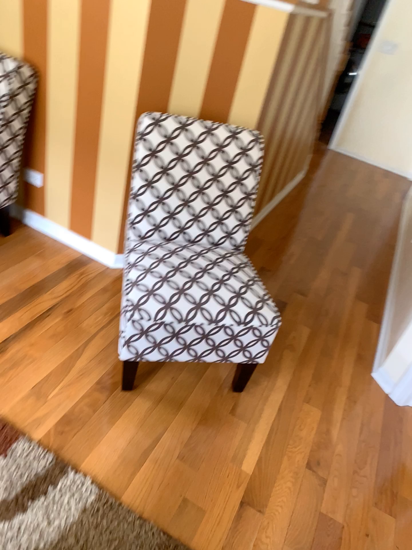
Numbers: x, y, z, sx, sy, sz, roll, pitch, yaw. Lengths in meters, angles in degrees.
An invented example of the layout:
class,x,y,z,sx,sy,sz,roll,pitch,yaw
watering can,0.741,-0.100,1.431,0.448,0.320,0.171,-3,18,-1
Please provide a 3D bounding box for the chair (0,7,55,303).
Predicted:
class,x,y,z,sx,sy,sz,roll,pitch,yaw
chair,-1.166,-0.525,1.755,0.591,0.834,0.802,25,34,13

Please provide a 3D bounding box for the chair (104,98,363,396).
class,x,y,z,sx,sy,sz,roll,pitch,yaw
chair,-0.014,-0.108,1.562,0.622,0.774,0.741,5,34,-14
